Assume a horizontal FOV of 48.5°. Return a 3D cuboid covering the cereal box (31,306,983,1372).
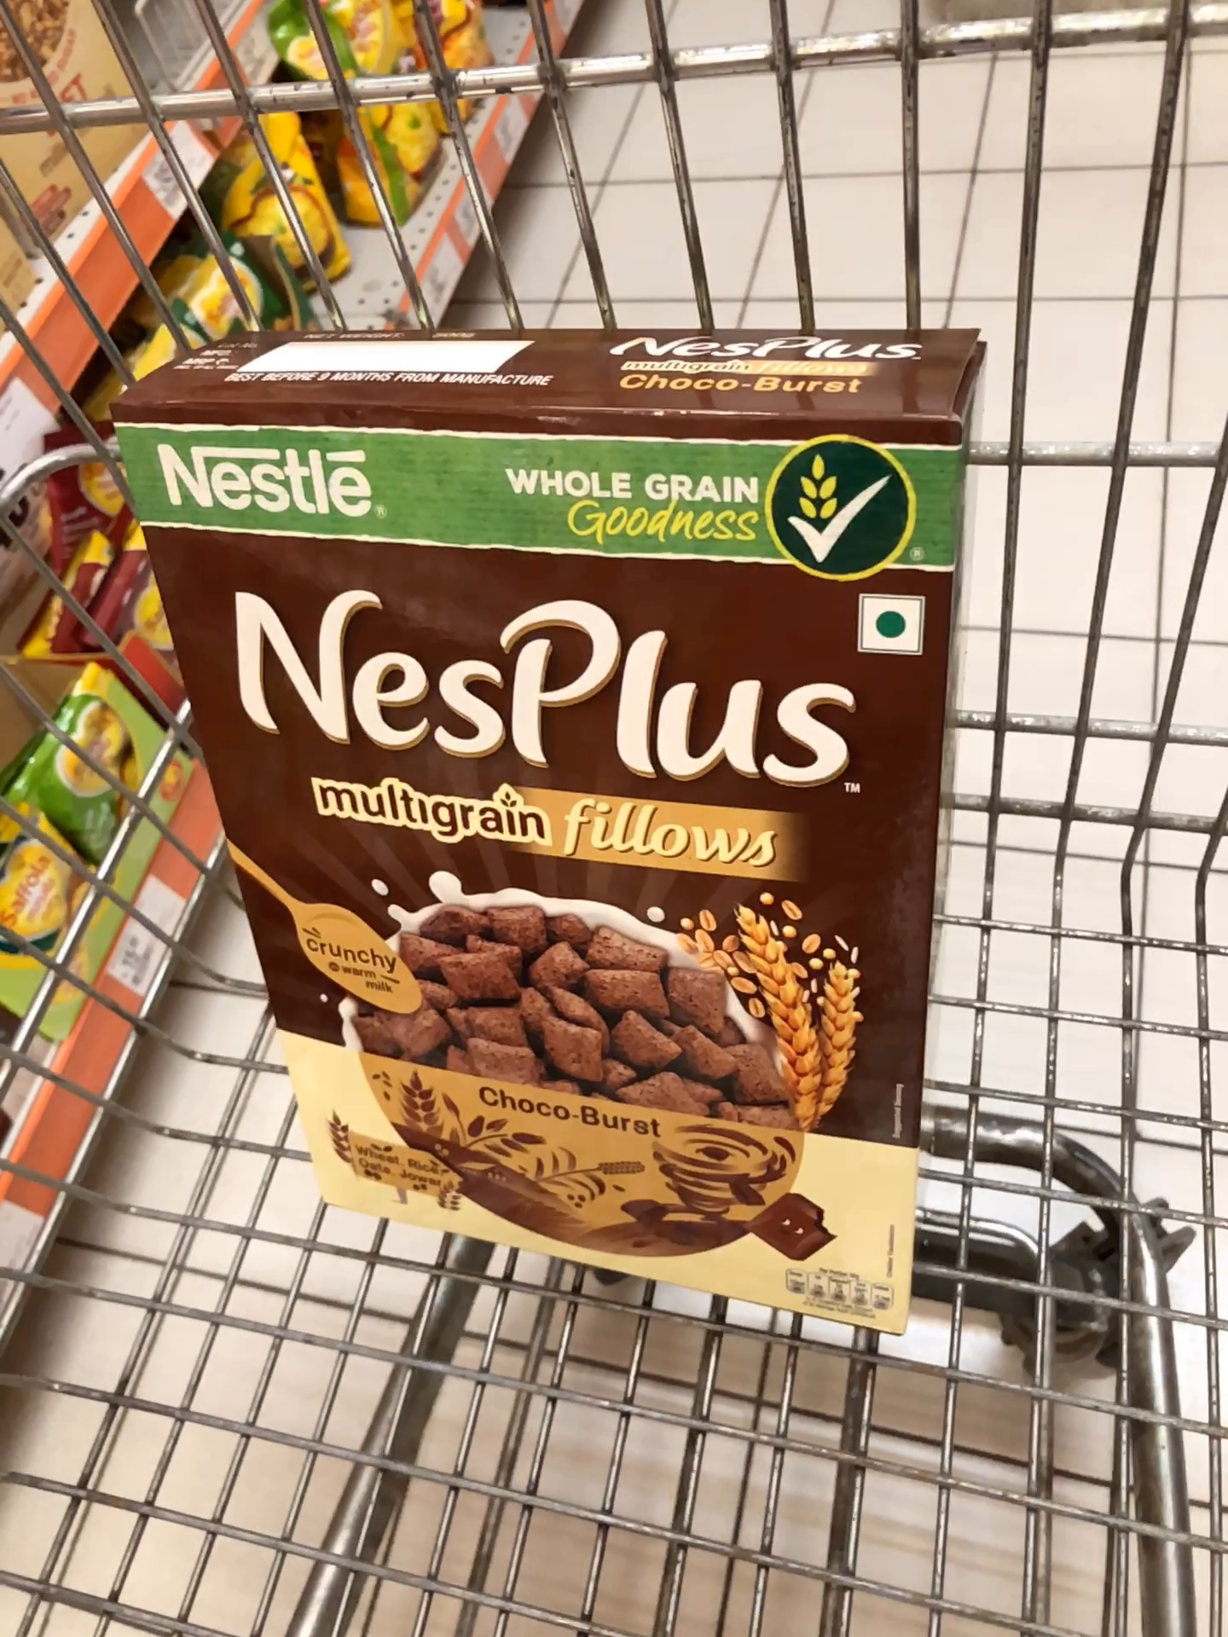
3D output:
[{"bbox_3d":[-0.015,0.011,0.350,0.190,0.259,0.060,7,33,19],"label":"cereal box"}]
